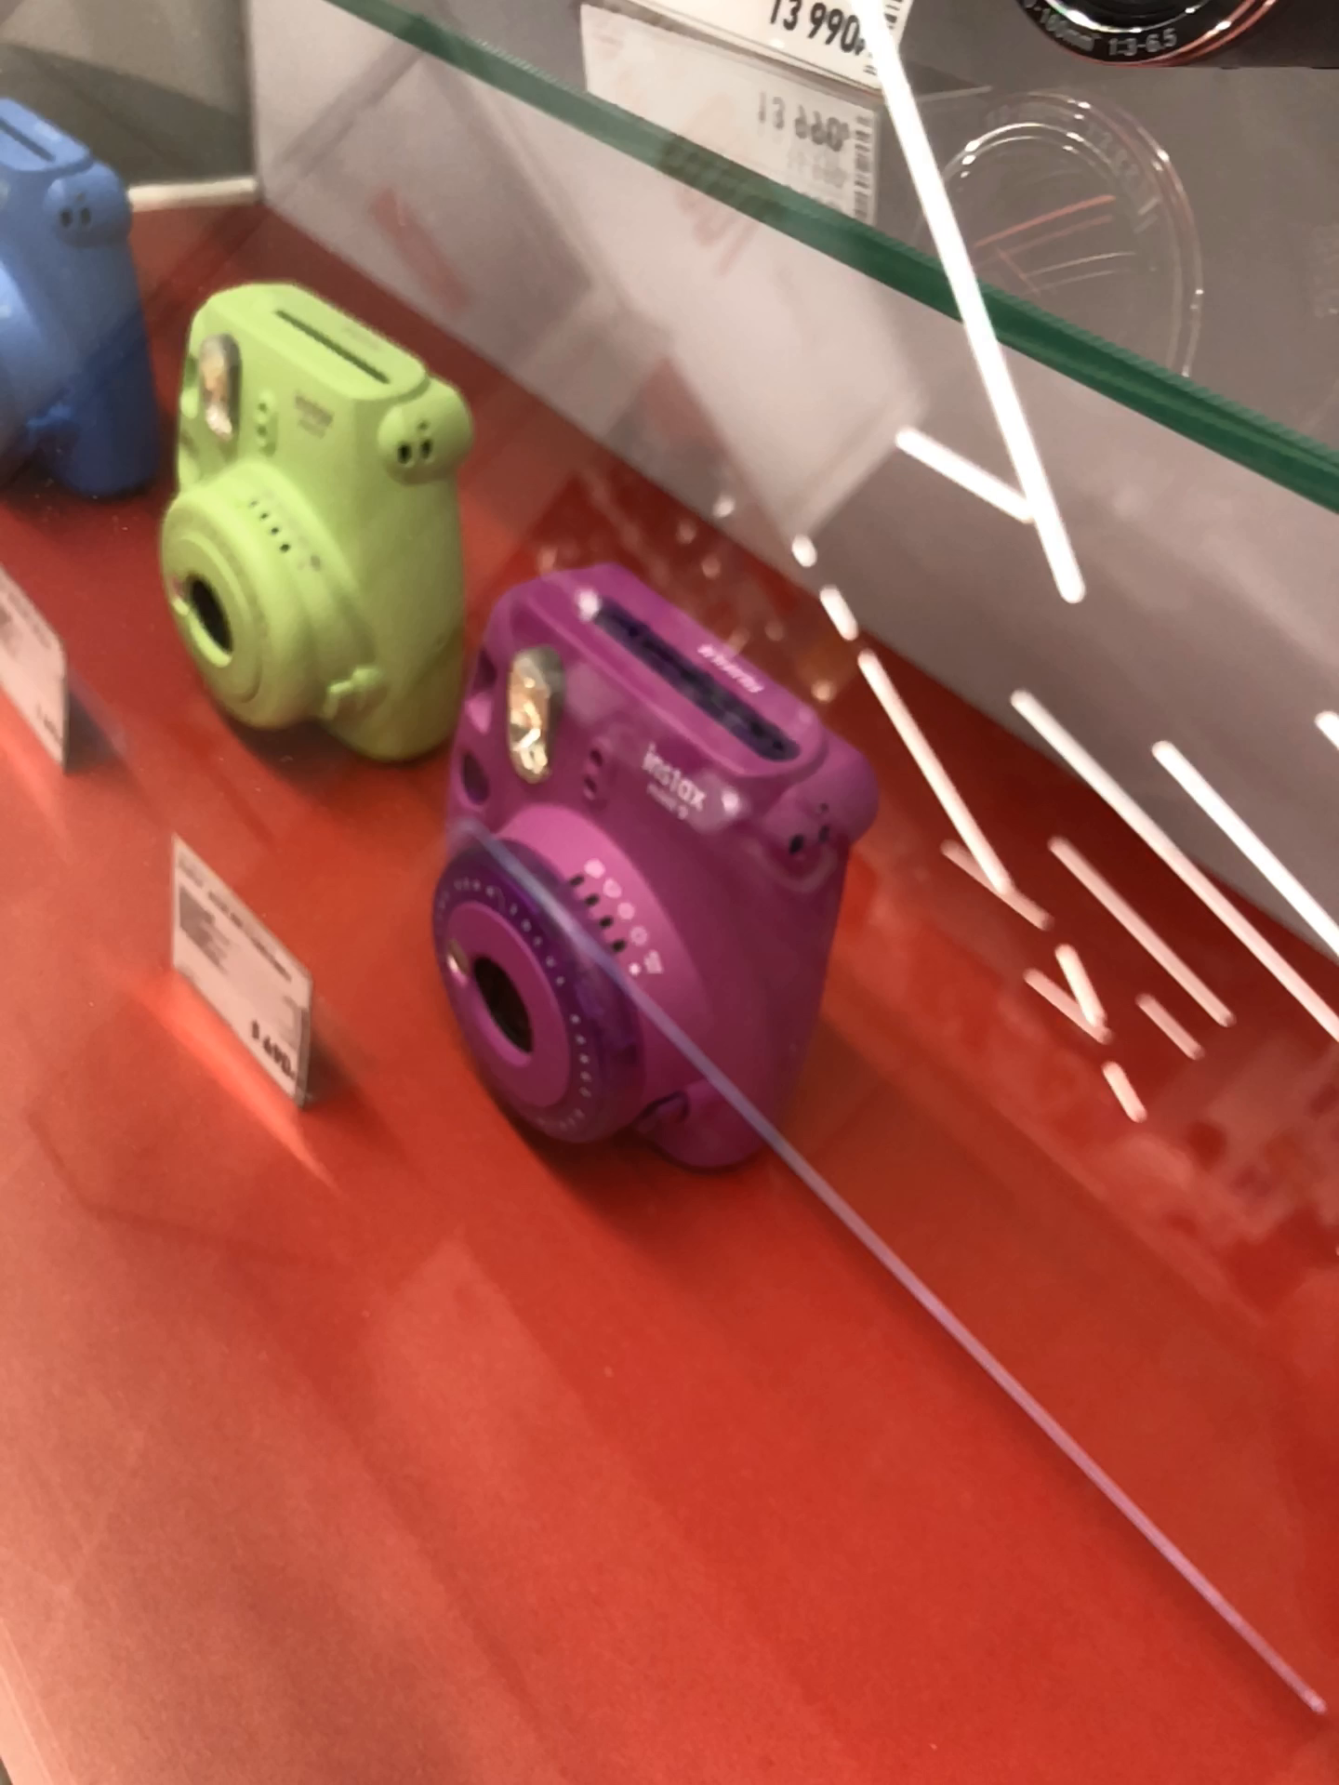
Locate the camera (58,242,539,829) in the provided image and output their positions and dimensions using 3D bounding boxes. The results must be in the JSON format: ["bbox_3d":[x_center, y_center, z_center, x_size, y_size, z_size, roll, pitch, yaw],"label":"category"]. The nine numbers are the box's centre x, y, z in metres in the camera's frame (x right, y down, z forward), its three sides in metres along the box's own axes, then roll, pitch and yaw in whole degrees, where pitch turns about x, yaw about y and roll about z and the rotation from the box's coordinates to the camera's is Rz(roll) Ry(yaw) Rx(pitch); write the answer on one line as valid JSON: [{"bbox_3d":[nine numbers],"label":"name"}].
[{"bbox_3d":[-0.114,-0.114,0.466,0.073,0.118,0.135,-28,52,-34],"label":"camera"}]

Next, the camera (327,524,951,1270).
[{"bbox_3d":[-0.014,-0.003,0.341,0.073,0.103,0.117,-23,50,-31],"label":"camera"}]
